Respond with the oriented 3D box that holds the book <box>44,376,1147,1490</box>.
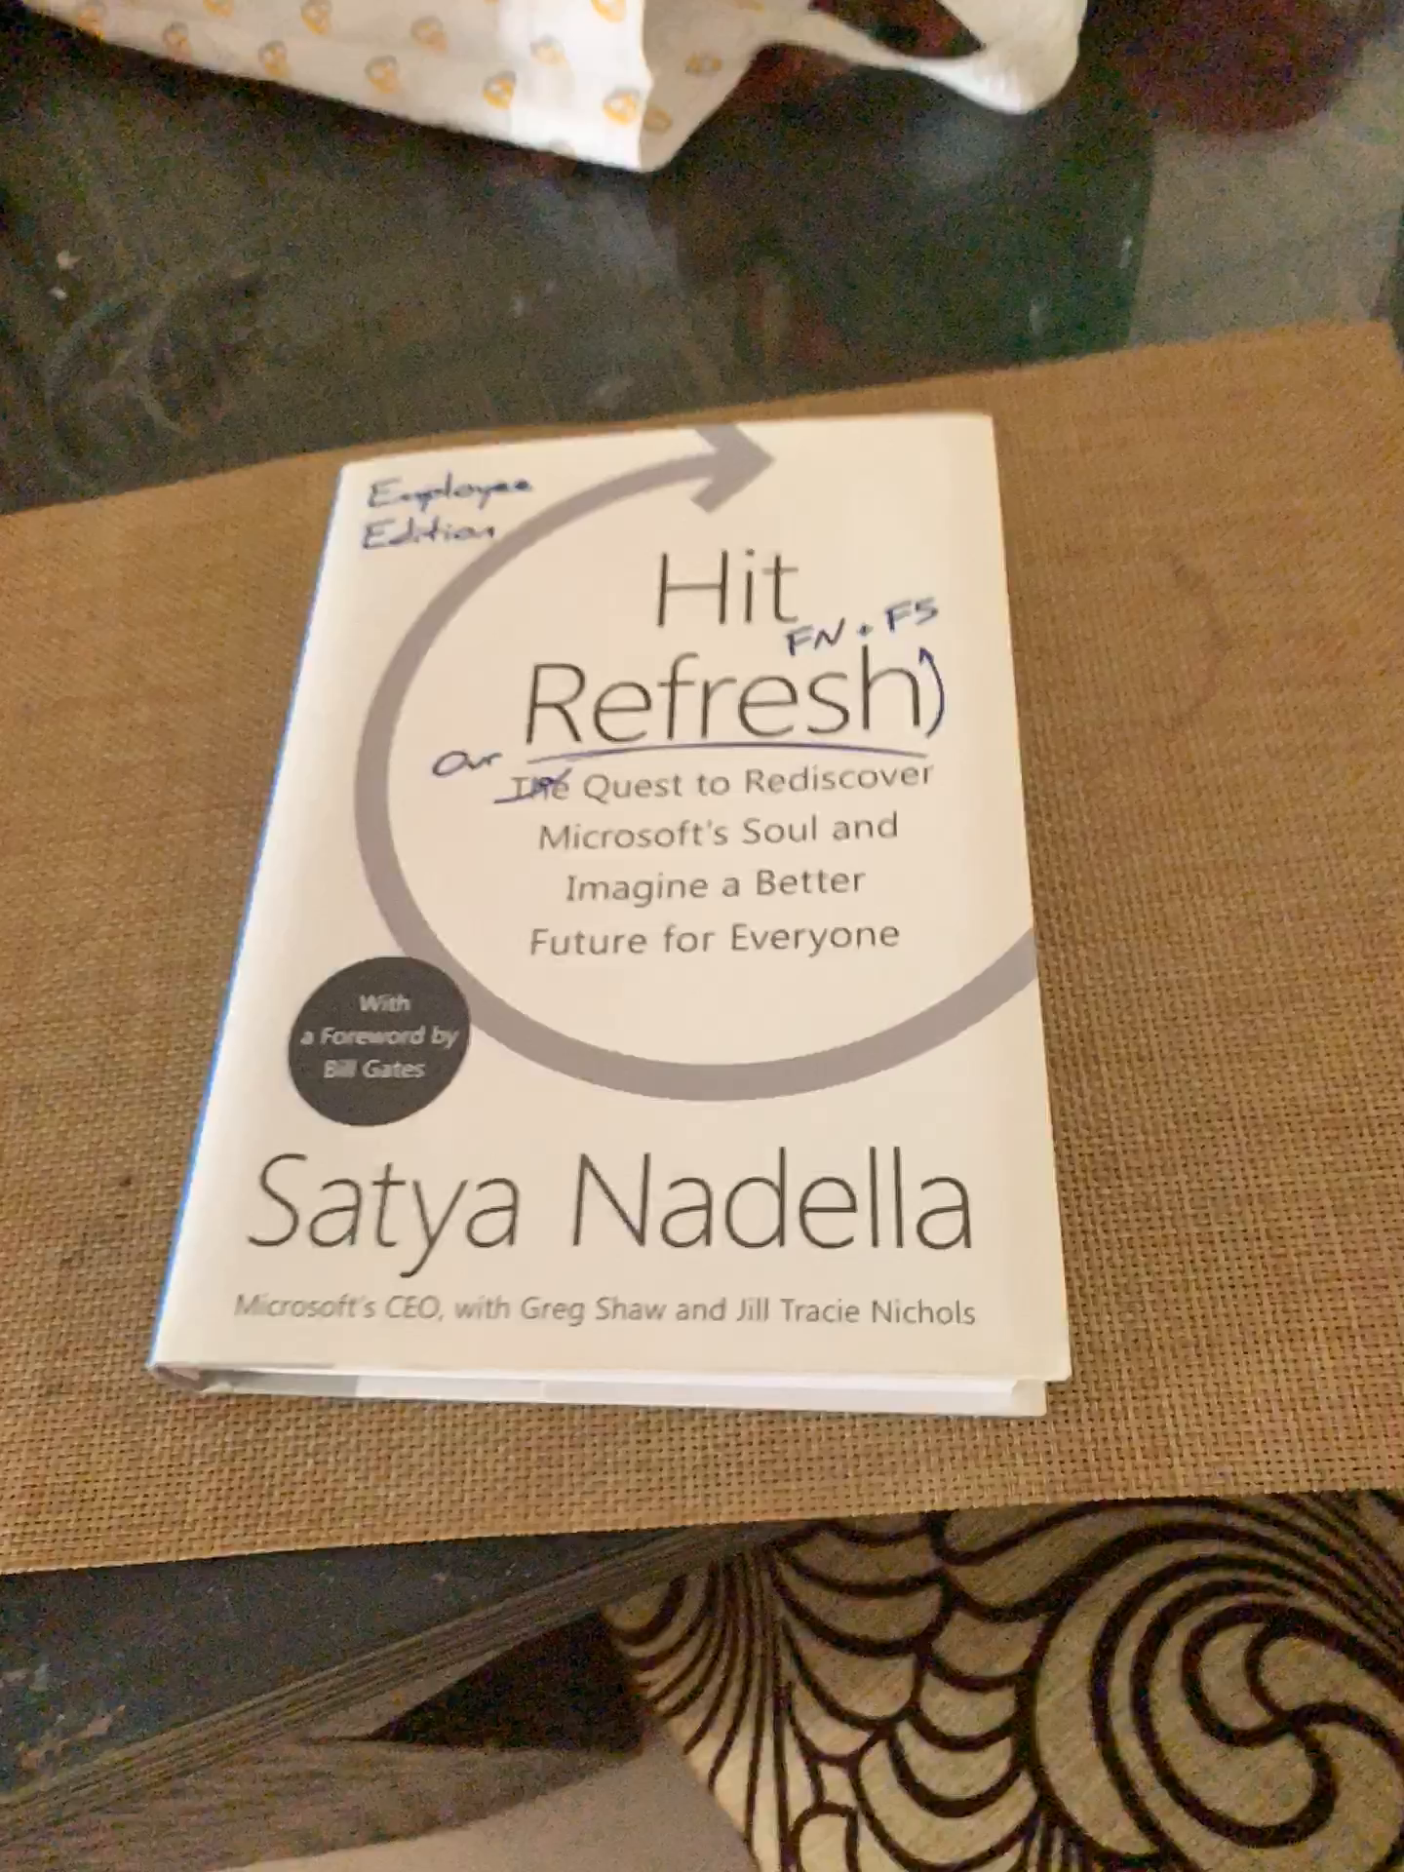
[{"bbox_3d":[-0.013,-0.017,0.325,0.190,0.040,0.251,0,61,8],"label":"book"}]
